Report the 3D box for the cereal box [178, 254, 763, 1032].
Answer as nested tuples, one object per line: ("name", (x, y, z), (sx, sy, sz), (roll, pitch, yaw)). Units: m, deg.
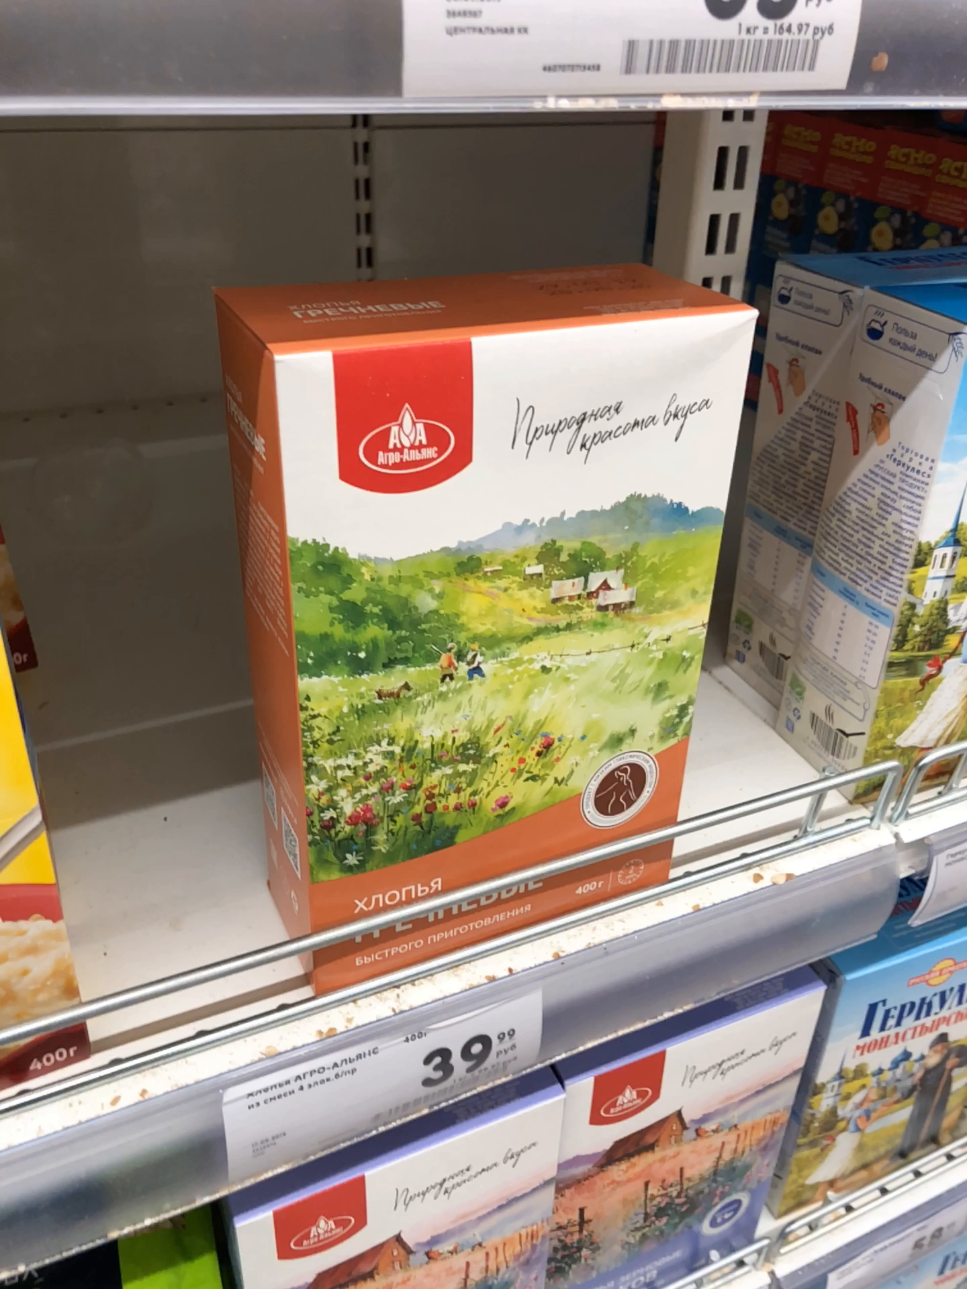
("cereal box", (-0.006, -0.001, 0.311), (0.130, 0.199, 0.060), (-12, 32, -23))
